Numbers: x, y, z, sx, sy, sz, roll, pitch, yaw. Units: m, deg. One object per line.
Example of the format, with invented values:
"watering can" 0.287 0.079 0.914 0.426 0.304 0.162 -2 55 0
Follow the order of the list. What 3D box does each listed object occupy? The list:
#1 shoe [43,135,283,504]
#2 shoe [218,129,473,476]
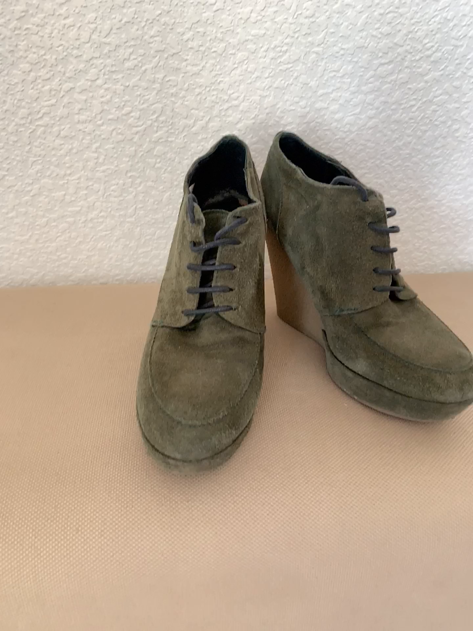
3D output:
"shoe" -0.024 -0.021 0.330 0.086 0.136 0.230 6 34 6
"shoe" 0.080 -0.038 0.379 0.080 0.139 0.271 -14 37 -23
